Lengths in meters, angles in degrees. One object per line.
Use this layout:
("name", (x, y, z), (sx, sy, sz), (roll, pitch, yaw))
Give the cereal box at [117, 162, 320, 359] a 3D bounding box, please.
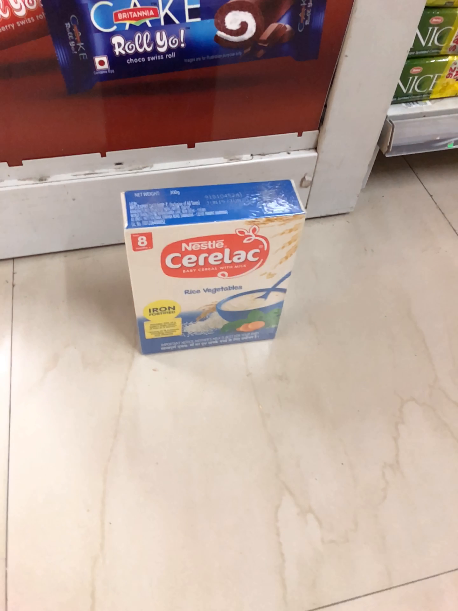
("cereal box", (-0.016, -0.035, 0.498), (0.160, 0.199, 0.060), (-7, 54, -10))
